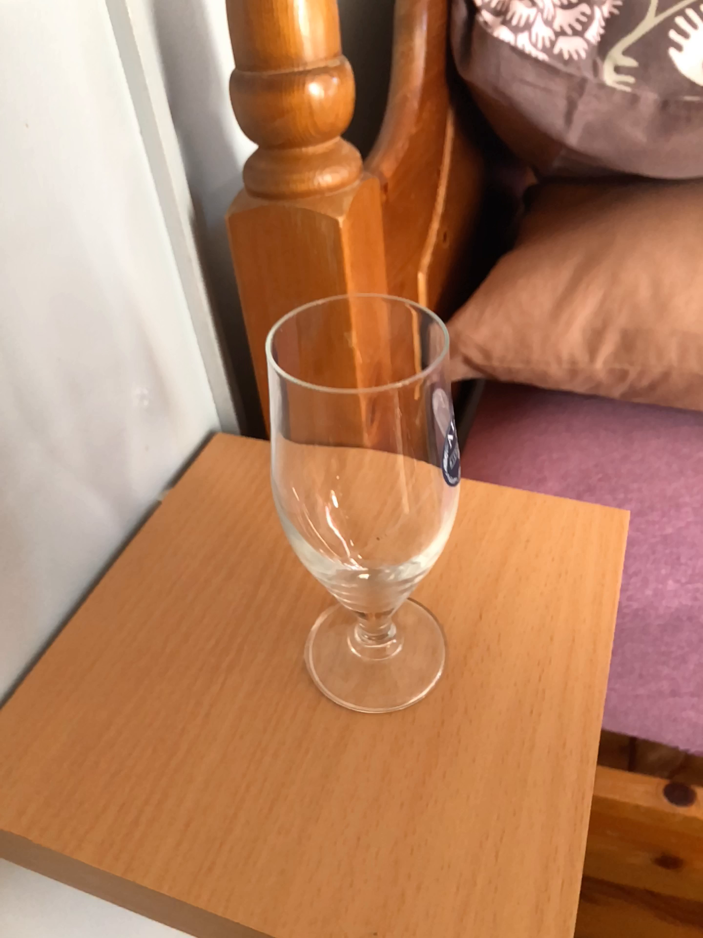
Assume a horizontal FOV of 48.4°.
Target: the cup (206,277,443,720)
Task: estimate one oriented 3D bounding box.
[{"bbox_3d":[-0.001,0.019,0.301,0.068,0.166,0.068,-3,40,2],"label":"cup"}]
